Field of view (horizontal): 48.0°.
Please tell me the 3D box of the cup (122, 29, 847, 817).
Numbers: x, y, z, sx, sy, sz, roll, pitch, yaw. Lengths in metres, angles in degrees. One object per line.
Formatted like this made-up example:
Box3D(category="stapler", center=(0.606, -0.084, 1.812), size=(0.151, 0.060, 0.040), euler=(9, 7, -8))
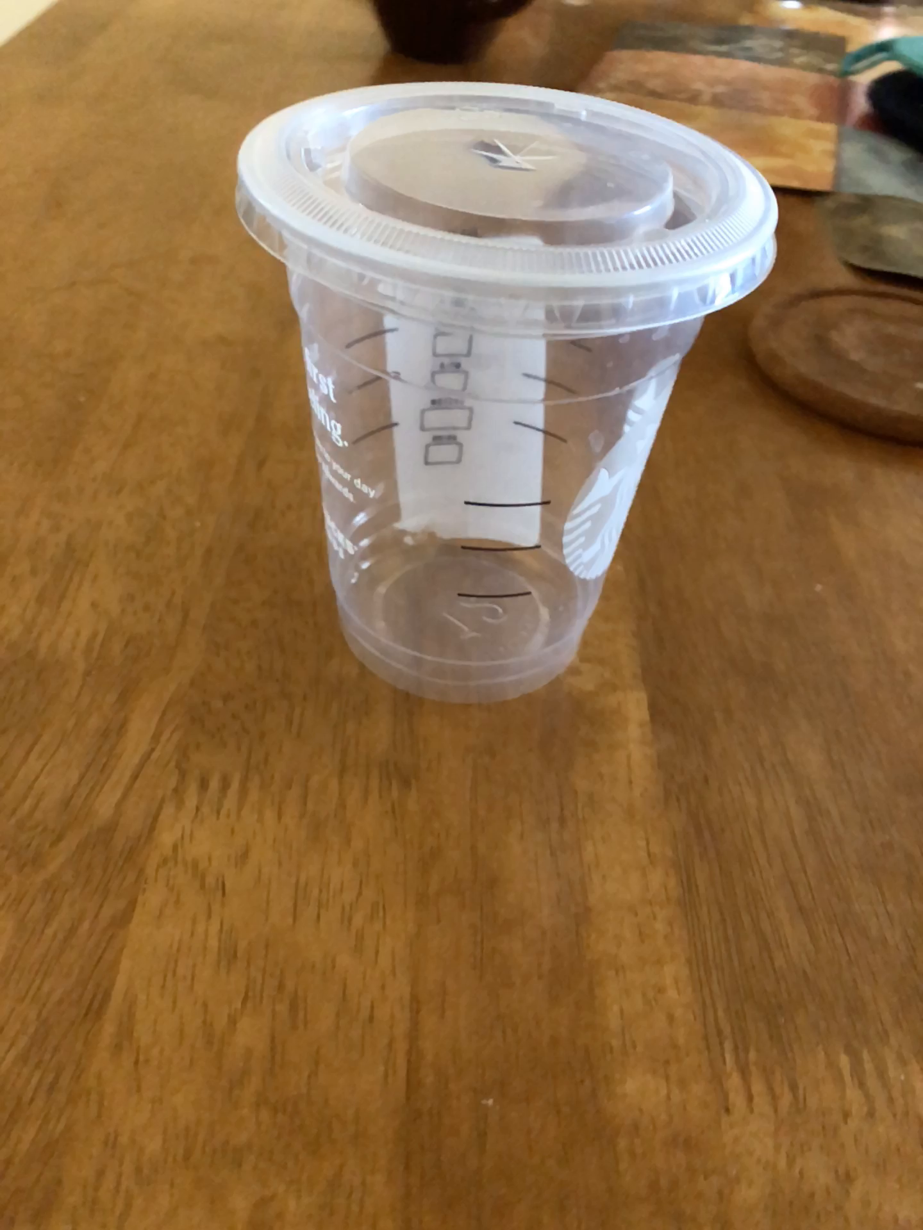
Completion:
Box3D(category="cup", center=(0.008, -0.043, 0.207), size=(0.090, 0.100, 0.100), euler=(19, 44, 15))
